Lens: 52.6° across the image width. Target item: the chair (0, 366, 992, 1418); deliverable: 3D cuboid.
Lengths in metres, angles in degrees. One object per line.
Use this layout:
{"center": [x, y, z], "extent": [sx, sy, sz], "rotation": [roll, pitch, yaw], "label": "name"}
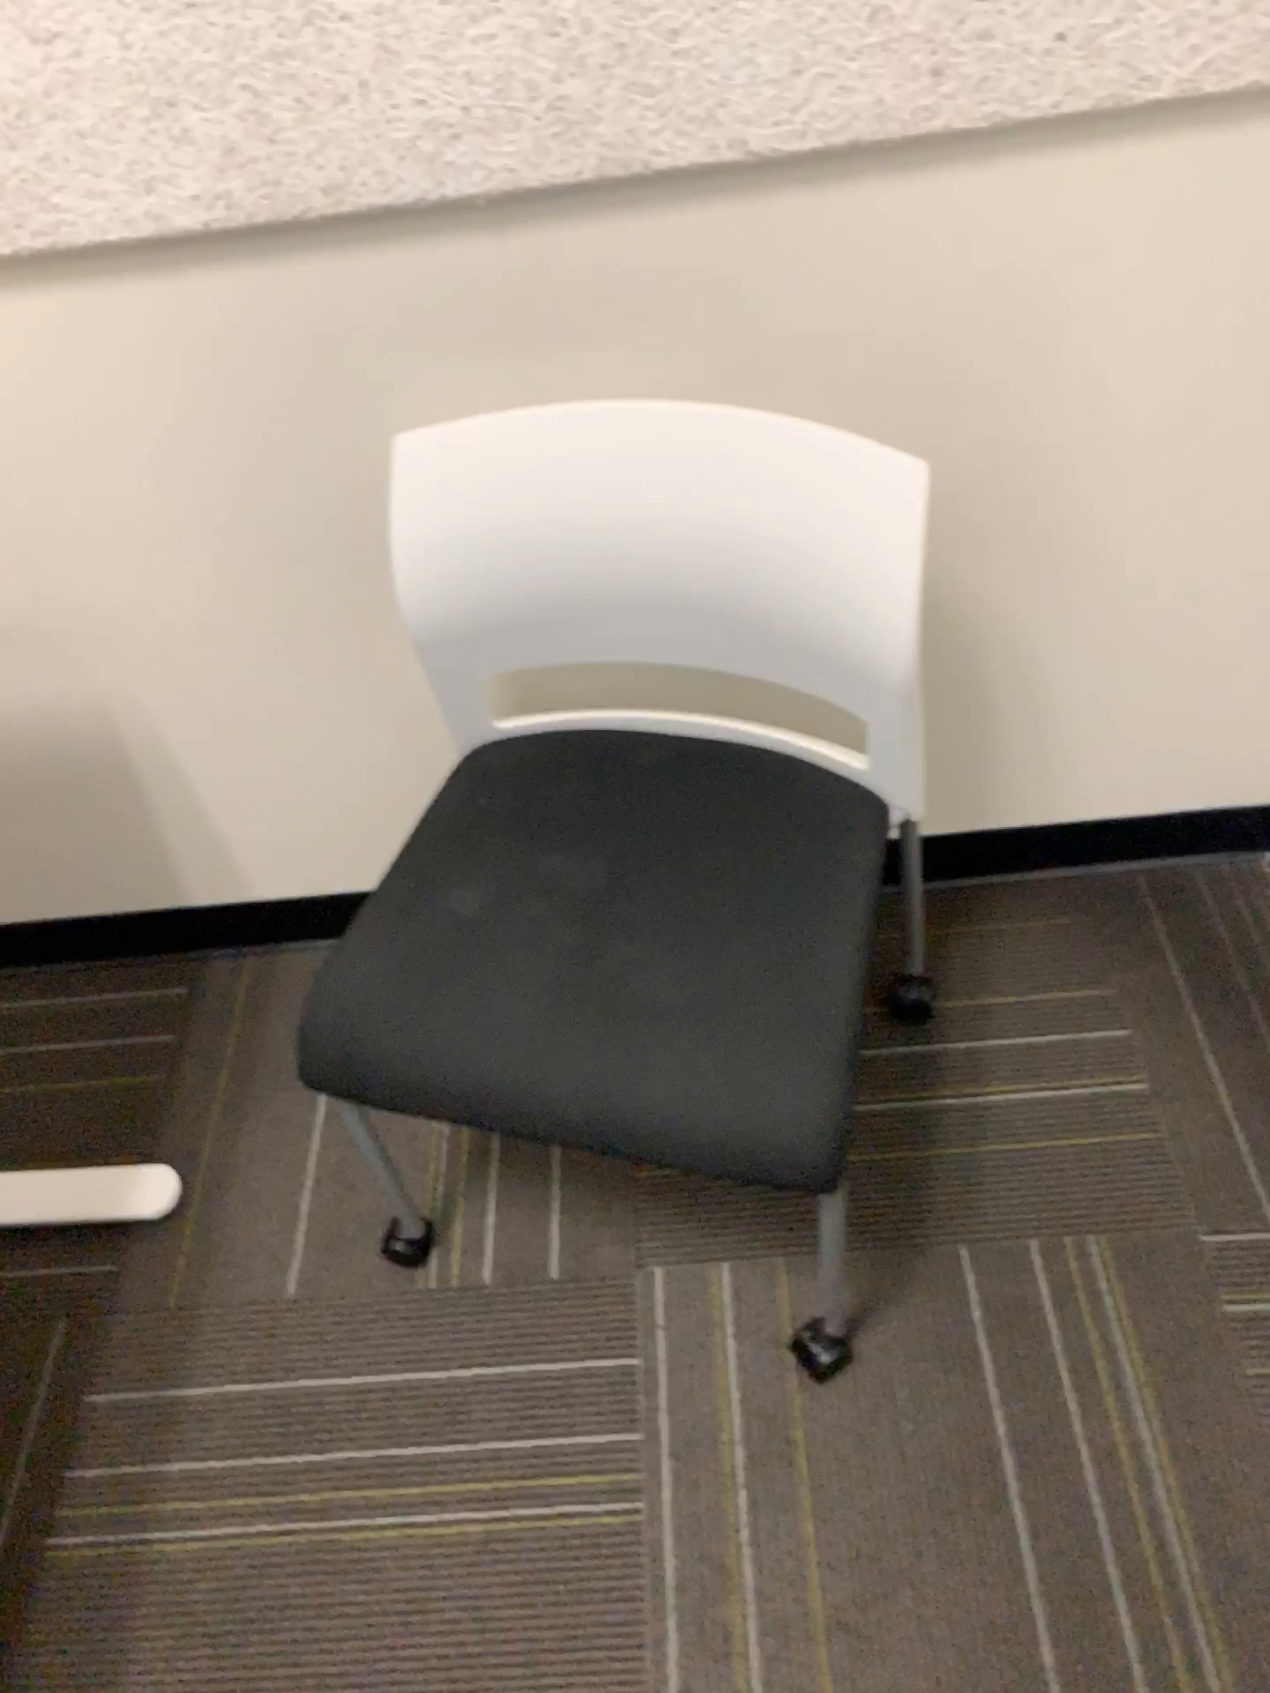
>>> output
{"center": [-0.018, 0.051, 1.262], "extent": [0.621, 0.776, 0.623], "rotation": [5, 49, 14], "label": "chair"}
